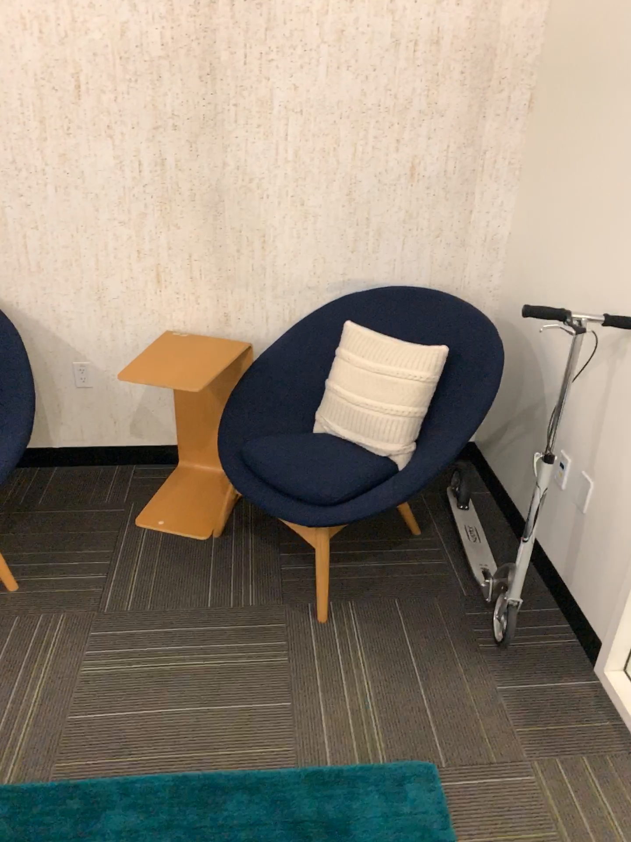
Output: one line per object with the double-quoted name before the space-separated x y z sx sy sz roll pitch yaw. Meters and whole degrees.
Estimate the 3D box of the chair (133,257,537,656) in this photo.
"chair" 0.049 0.005 2.166 0.893 0.816 0.881 26 36 38
